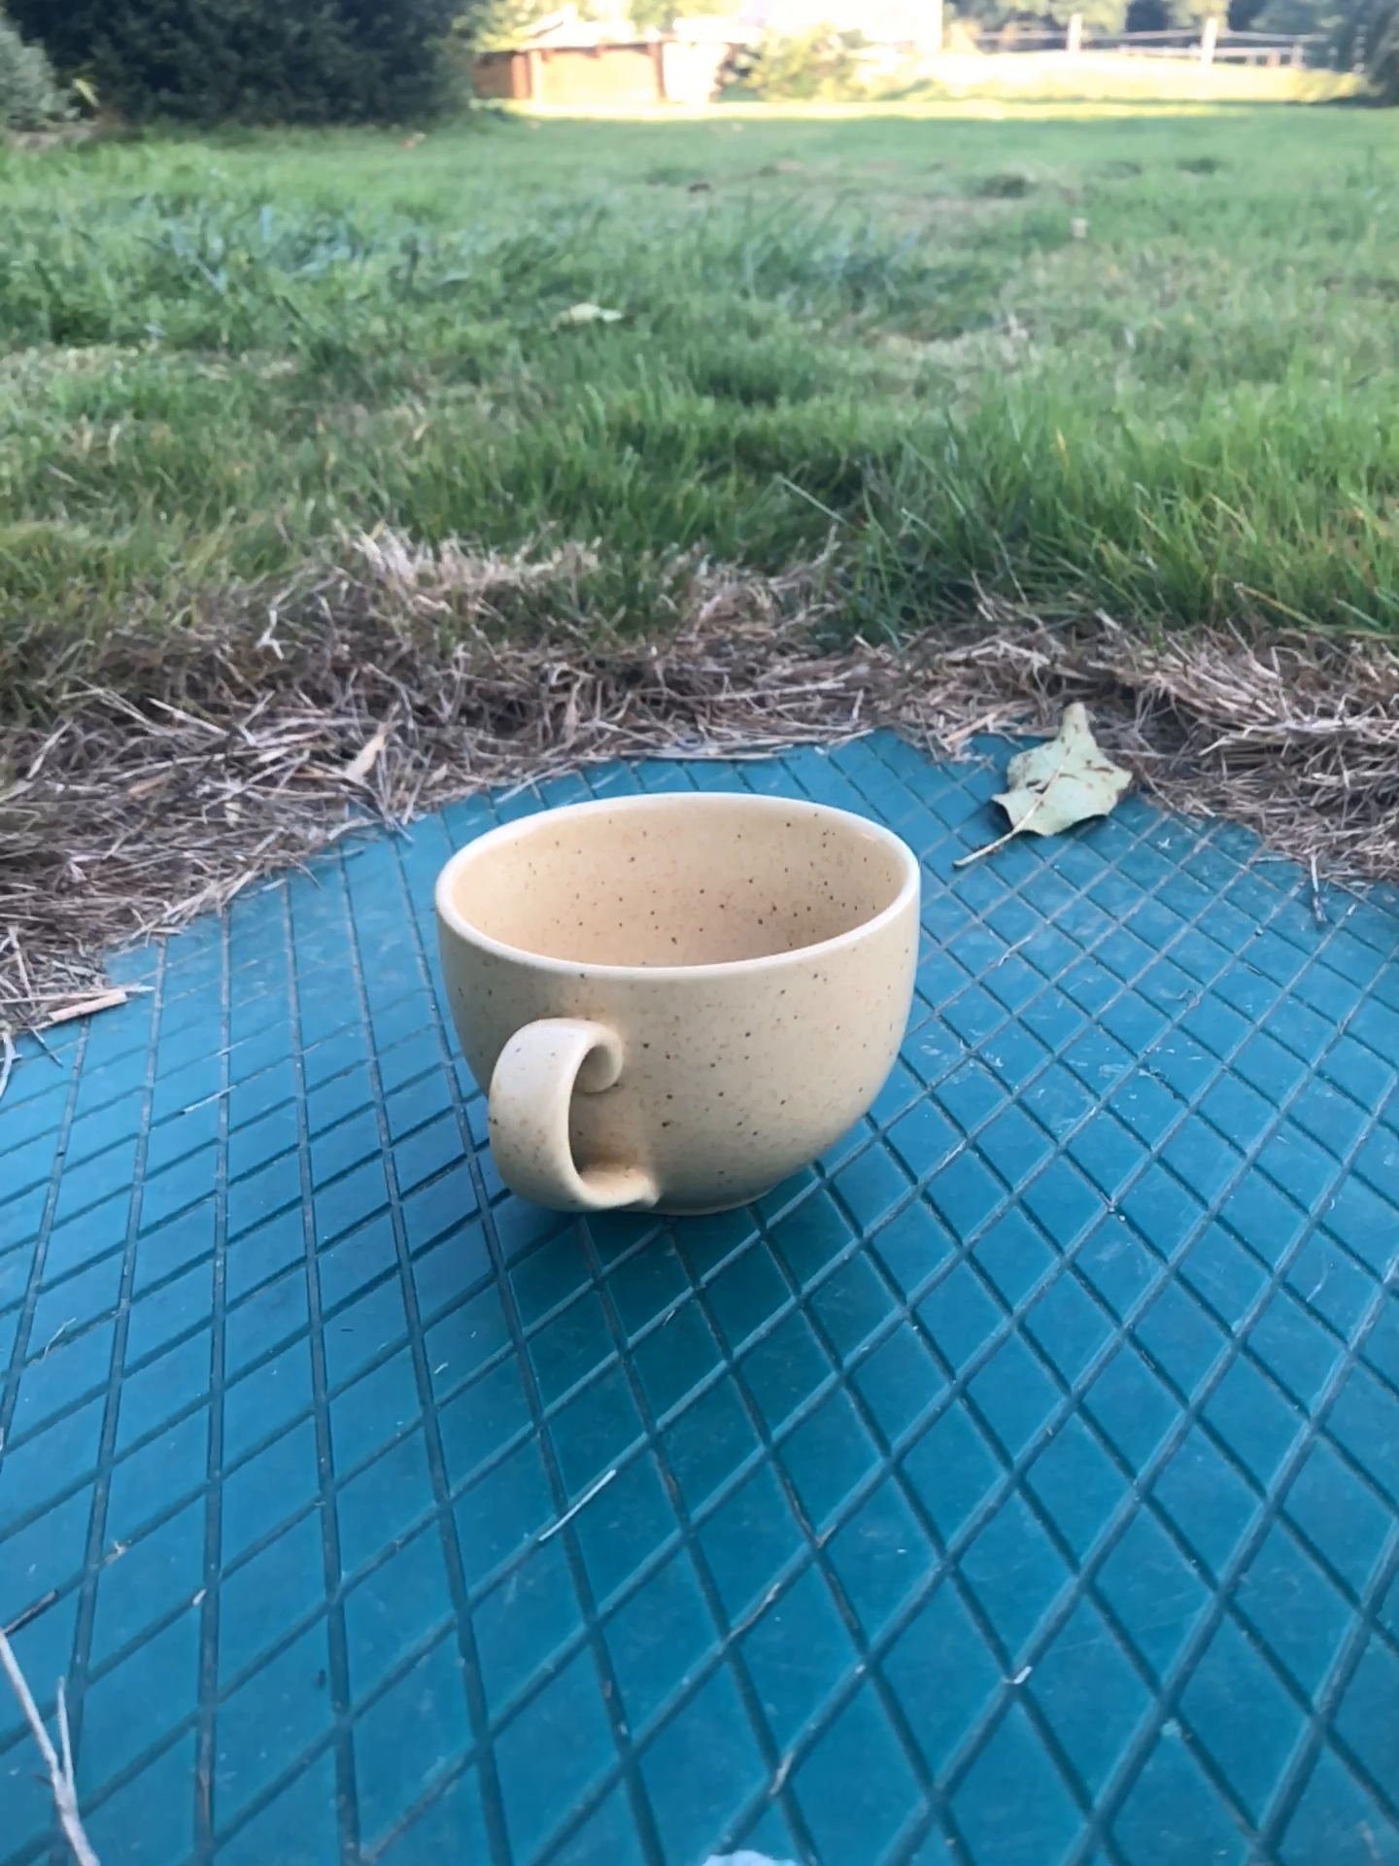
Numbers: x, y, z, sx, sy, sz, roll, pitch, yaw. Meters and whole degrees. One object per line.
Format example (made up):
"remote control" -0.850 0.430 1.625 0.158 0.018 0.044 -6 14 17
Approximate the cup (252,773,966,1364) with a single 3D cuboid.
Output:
"cup" -0.009 0.020 0.366 0.123 0.065 0.143 5 26 16
